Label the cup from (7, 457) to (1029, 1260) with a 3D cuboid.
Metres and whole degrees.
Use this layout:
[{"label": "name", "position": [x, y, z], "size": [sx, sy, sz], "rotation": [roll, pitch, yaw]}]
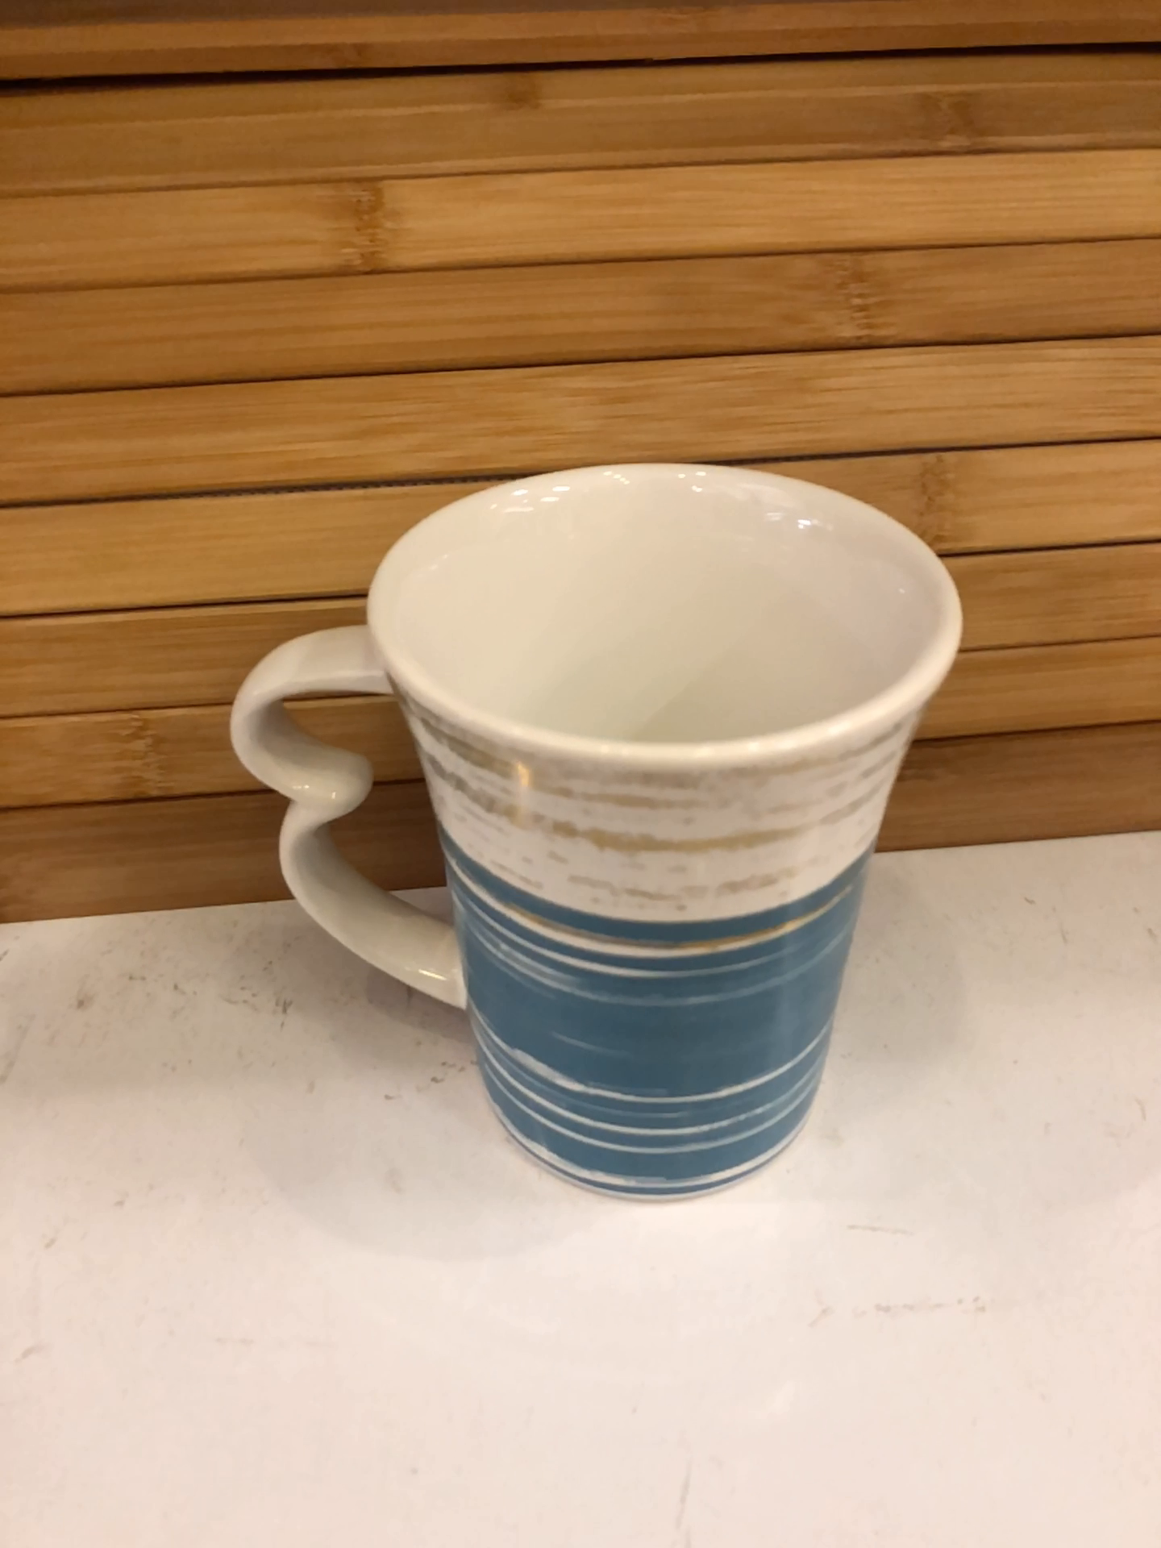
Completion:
[{"label": "cup", "position": [-0.004, 0.010, 0.213], "size": [0.120, 0.089, 0.091], "rotation": [2, 37, 5]}]
